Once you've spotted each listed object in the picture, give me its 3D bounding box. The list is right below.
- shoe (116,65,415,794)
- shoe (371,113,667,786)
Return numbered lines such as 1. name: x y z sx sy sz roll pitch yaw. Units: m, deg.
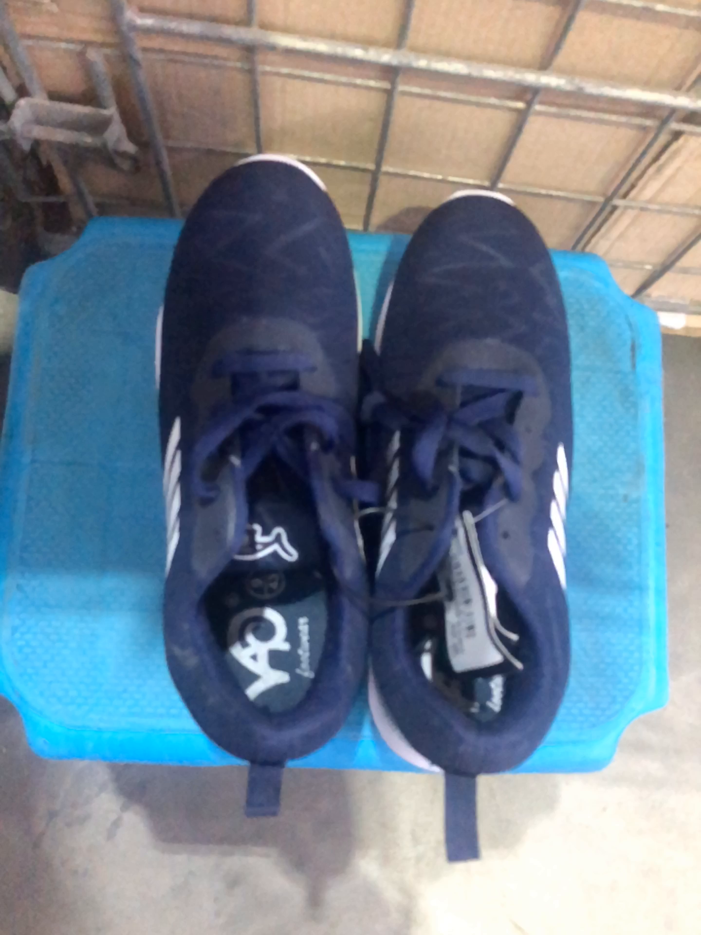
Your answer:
1. shoe: -0.033 -0.016 0.329 0.100 0.100 0.270 0 80 -5
2. shoe: 0.066 -0.008 0.353 0.100 0.100 0.270 2 80 -5
